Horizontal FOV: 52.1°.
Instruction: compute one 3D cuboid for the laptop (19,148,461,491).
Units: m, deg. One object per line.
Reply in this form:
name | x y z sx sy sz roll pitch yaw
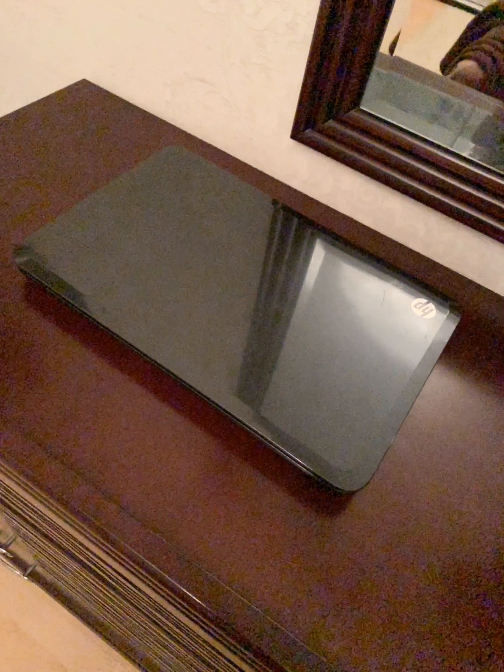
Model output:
laptop | -0.003 -0.049 0.476 0.345 0.003 0.223 33 55 14
